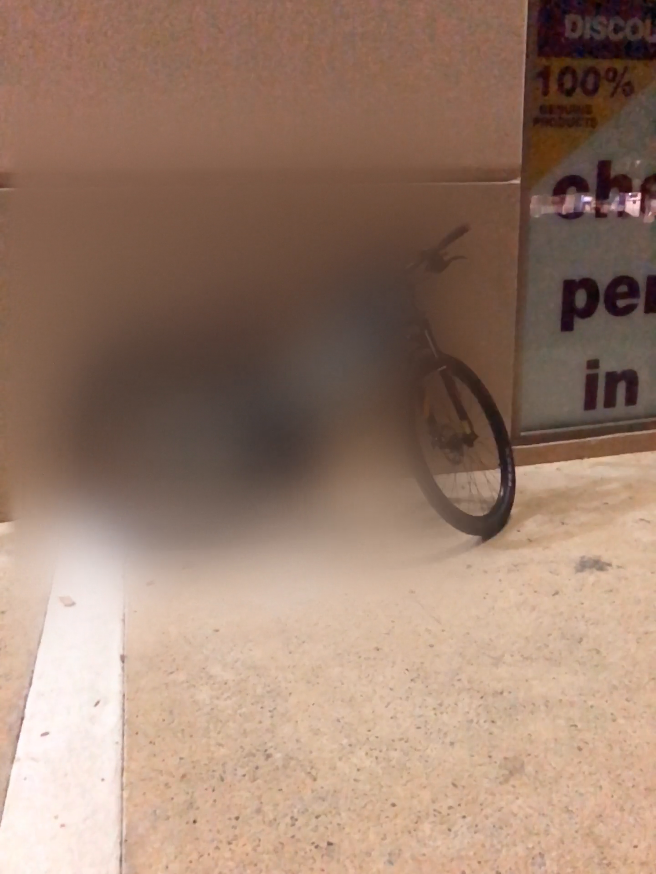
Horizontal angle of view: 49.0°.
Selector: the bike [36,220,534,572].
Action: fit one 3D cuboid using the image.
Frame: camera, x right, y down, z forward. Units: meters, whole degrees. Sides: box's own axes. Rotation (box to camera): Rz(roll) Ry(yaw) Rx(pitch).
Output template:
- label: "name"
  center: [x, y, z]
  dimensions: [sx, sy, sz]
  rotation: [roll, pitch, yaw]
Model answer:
- label: "bike"
  center: [-0.093, -0.226, 2.709]
  dimensions: [1.604, 1.063, 0.589]
  rotation: [-5, 16, -11]
